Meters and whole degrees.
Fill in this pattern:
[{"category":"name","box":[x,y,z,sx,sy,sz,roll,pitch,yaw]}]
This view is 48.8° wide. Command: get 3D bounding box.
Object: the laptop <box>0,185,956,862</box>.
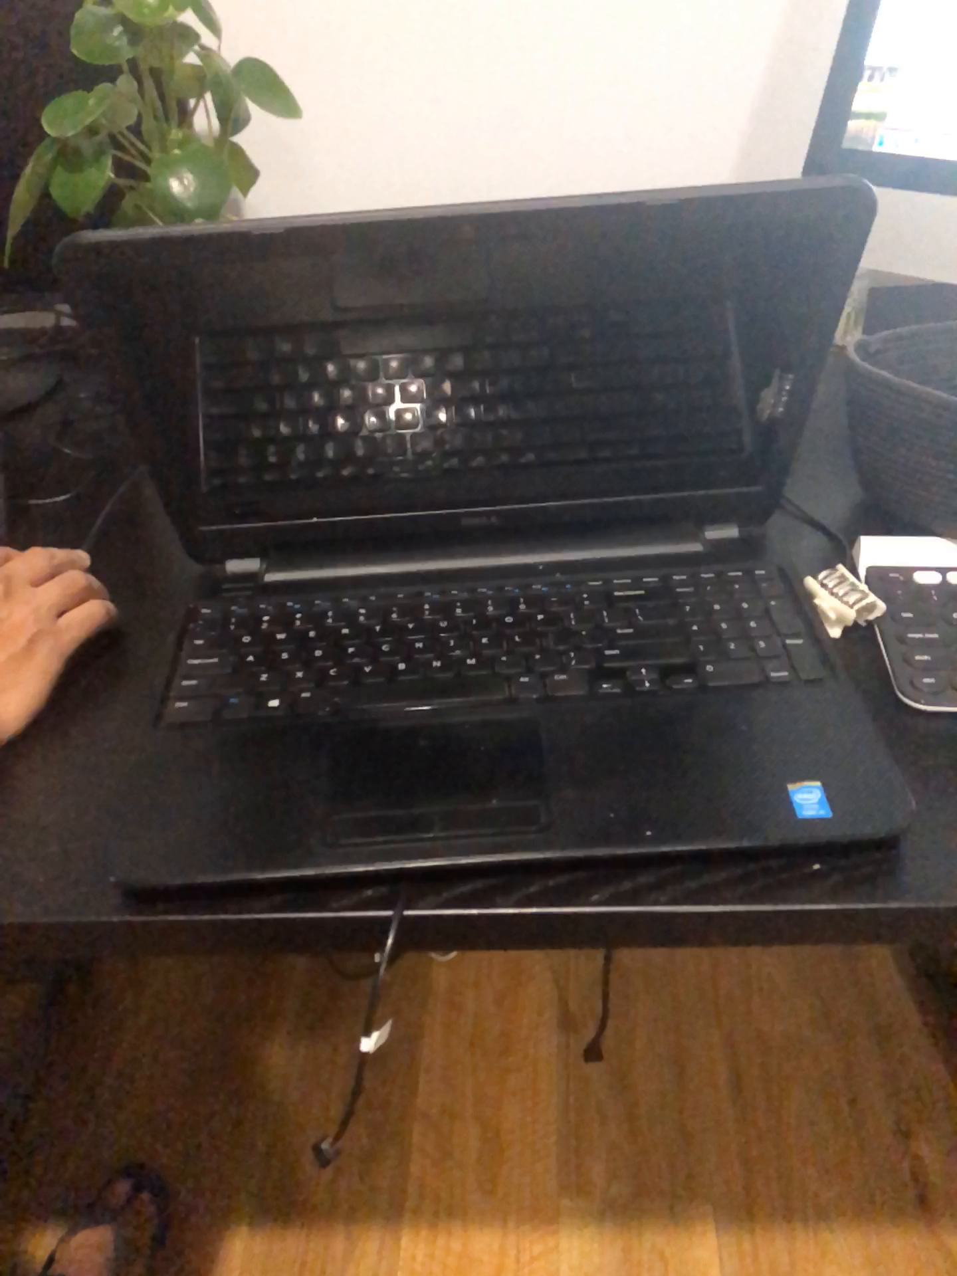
[{"category":"laptop","box":[-0.004,-0.057,0.494,0.366,0.210,0.207,-3,38,1]}]
